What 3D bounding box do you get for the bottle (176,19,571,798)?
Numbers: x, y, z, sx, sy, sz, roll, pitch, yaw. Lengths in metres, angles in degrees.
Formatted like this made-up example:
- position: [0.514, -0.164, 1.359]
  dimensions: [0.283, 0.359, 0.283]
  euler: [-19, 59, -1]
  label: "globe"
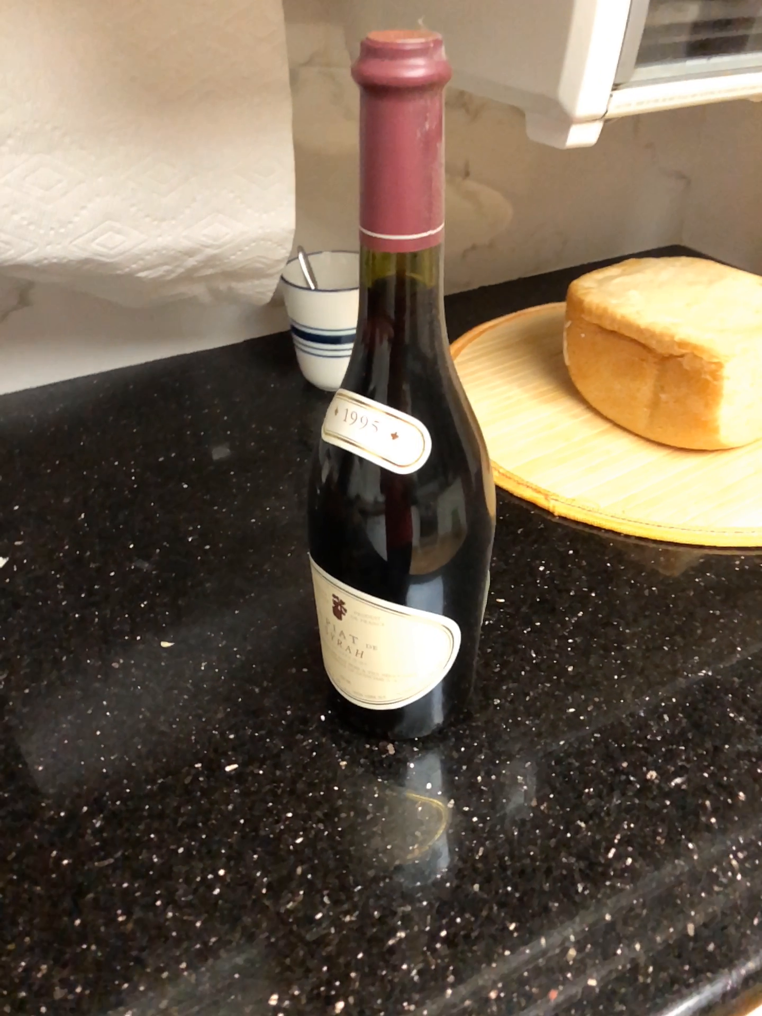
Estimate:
- position: [0.001, -0.024, 0.359]
  dimensions: [0.090, 0.308, 0.090]
  euler: [-1, 36, 1]
  label: "bottle"
